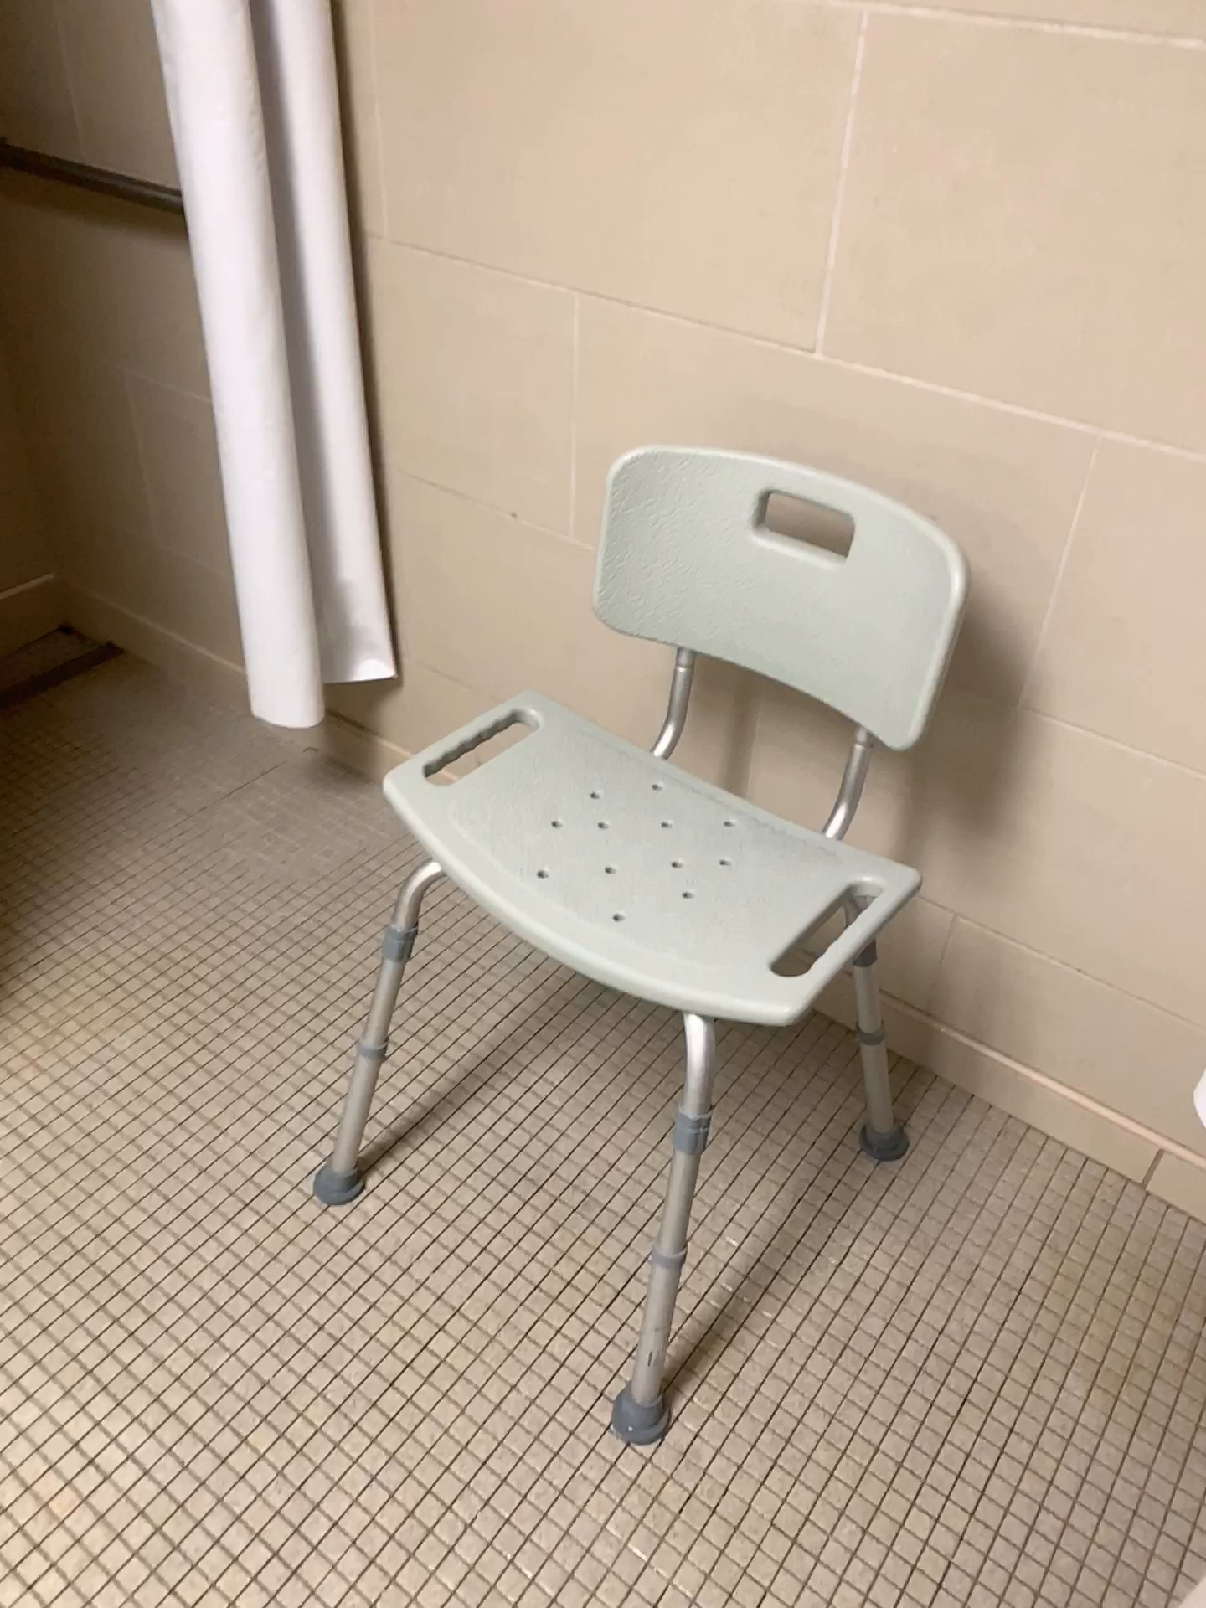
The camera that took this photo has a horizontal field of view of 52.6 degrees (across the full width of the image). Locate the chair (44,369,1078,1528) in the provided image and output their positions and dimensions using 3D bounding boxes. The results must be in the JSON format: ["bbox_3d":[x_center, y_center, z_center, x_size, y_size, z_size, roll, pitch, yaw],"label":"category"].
[{"bbox_3d":[-0.016,0.104,1.125,0.550,0.745,0.523,26,46,29],"label":"chair"}]
